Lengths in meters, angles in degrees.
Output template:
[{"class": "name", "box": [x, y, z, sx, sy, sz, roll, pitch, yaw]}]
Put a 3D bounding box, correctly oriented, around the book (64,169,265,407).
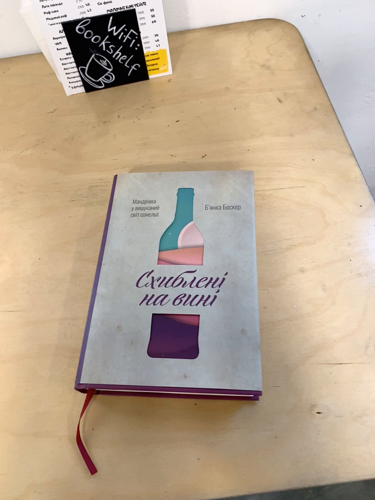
[{"class": "book", "box": [-0.010, 0.024, 0.358, 0.150, 0.050, 0.214, 1, 60, 6]}]
